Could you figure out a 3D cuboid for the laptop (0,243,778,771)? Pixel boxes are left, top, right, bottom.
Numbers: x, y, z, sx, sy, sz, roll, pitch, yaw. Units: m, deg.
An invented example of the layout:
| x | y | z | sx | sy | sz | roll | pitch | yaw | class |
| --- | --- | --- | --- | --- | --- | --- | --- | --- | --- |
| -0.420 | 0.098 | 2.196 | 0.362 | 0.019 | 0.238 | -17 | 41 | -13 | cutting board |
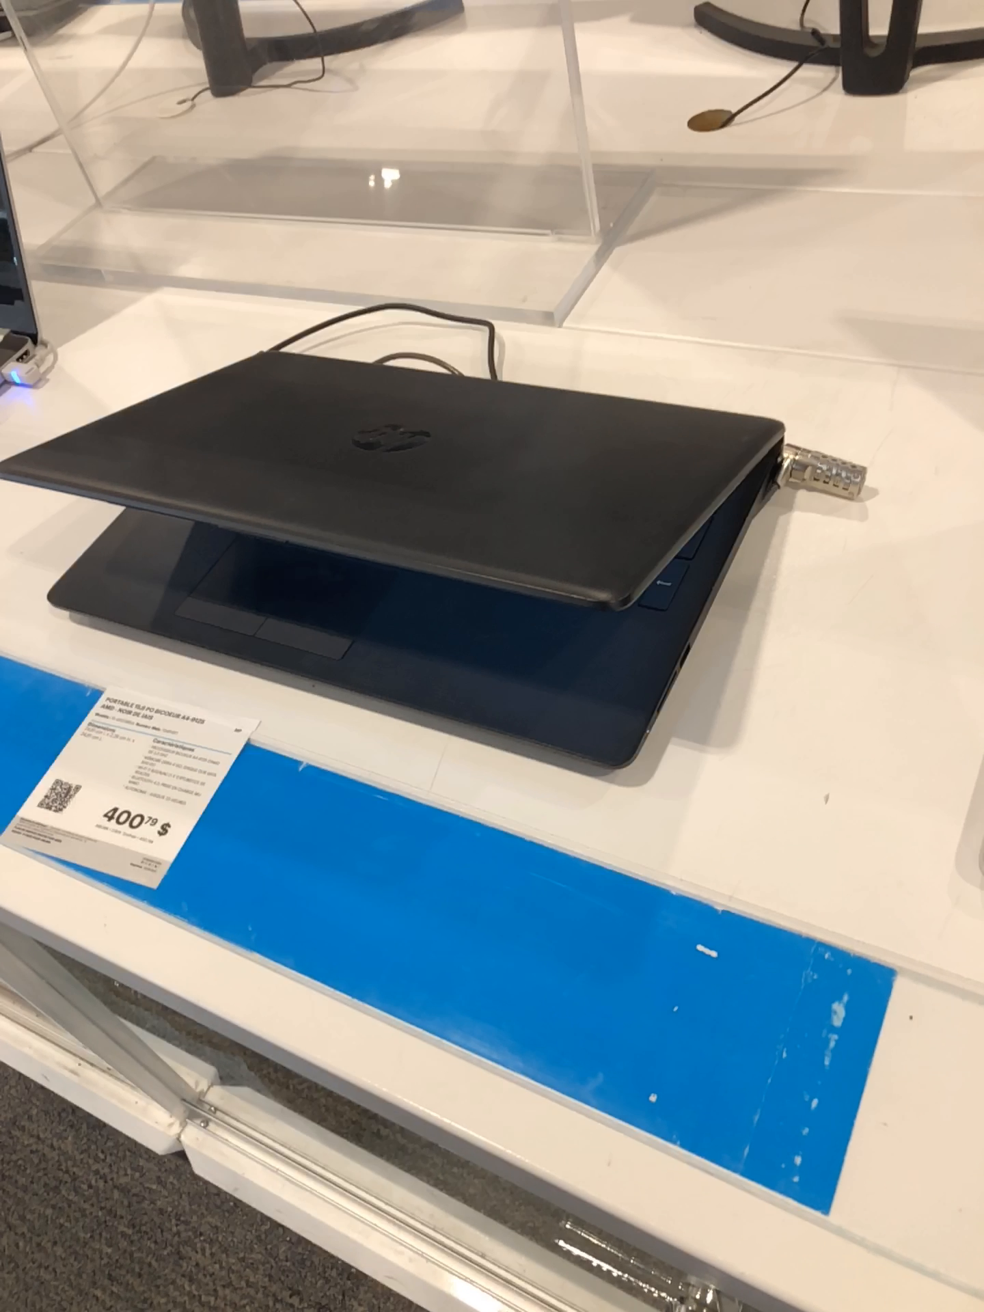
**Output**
| x | y | z | sx | sy | sz | roll | pitch | yaw | class |
| --- | --- | --- | --- | --- | --- | --- | --- | --- | --- |
| -0.063 | -0.104 | 0.586 | 0.366 | 0.092 | 0.235 | 15 | 55 | 22 | laptop |
